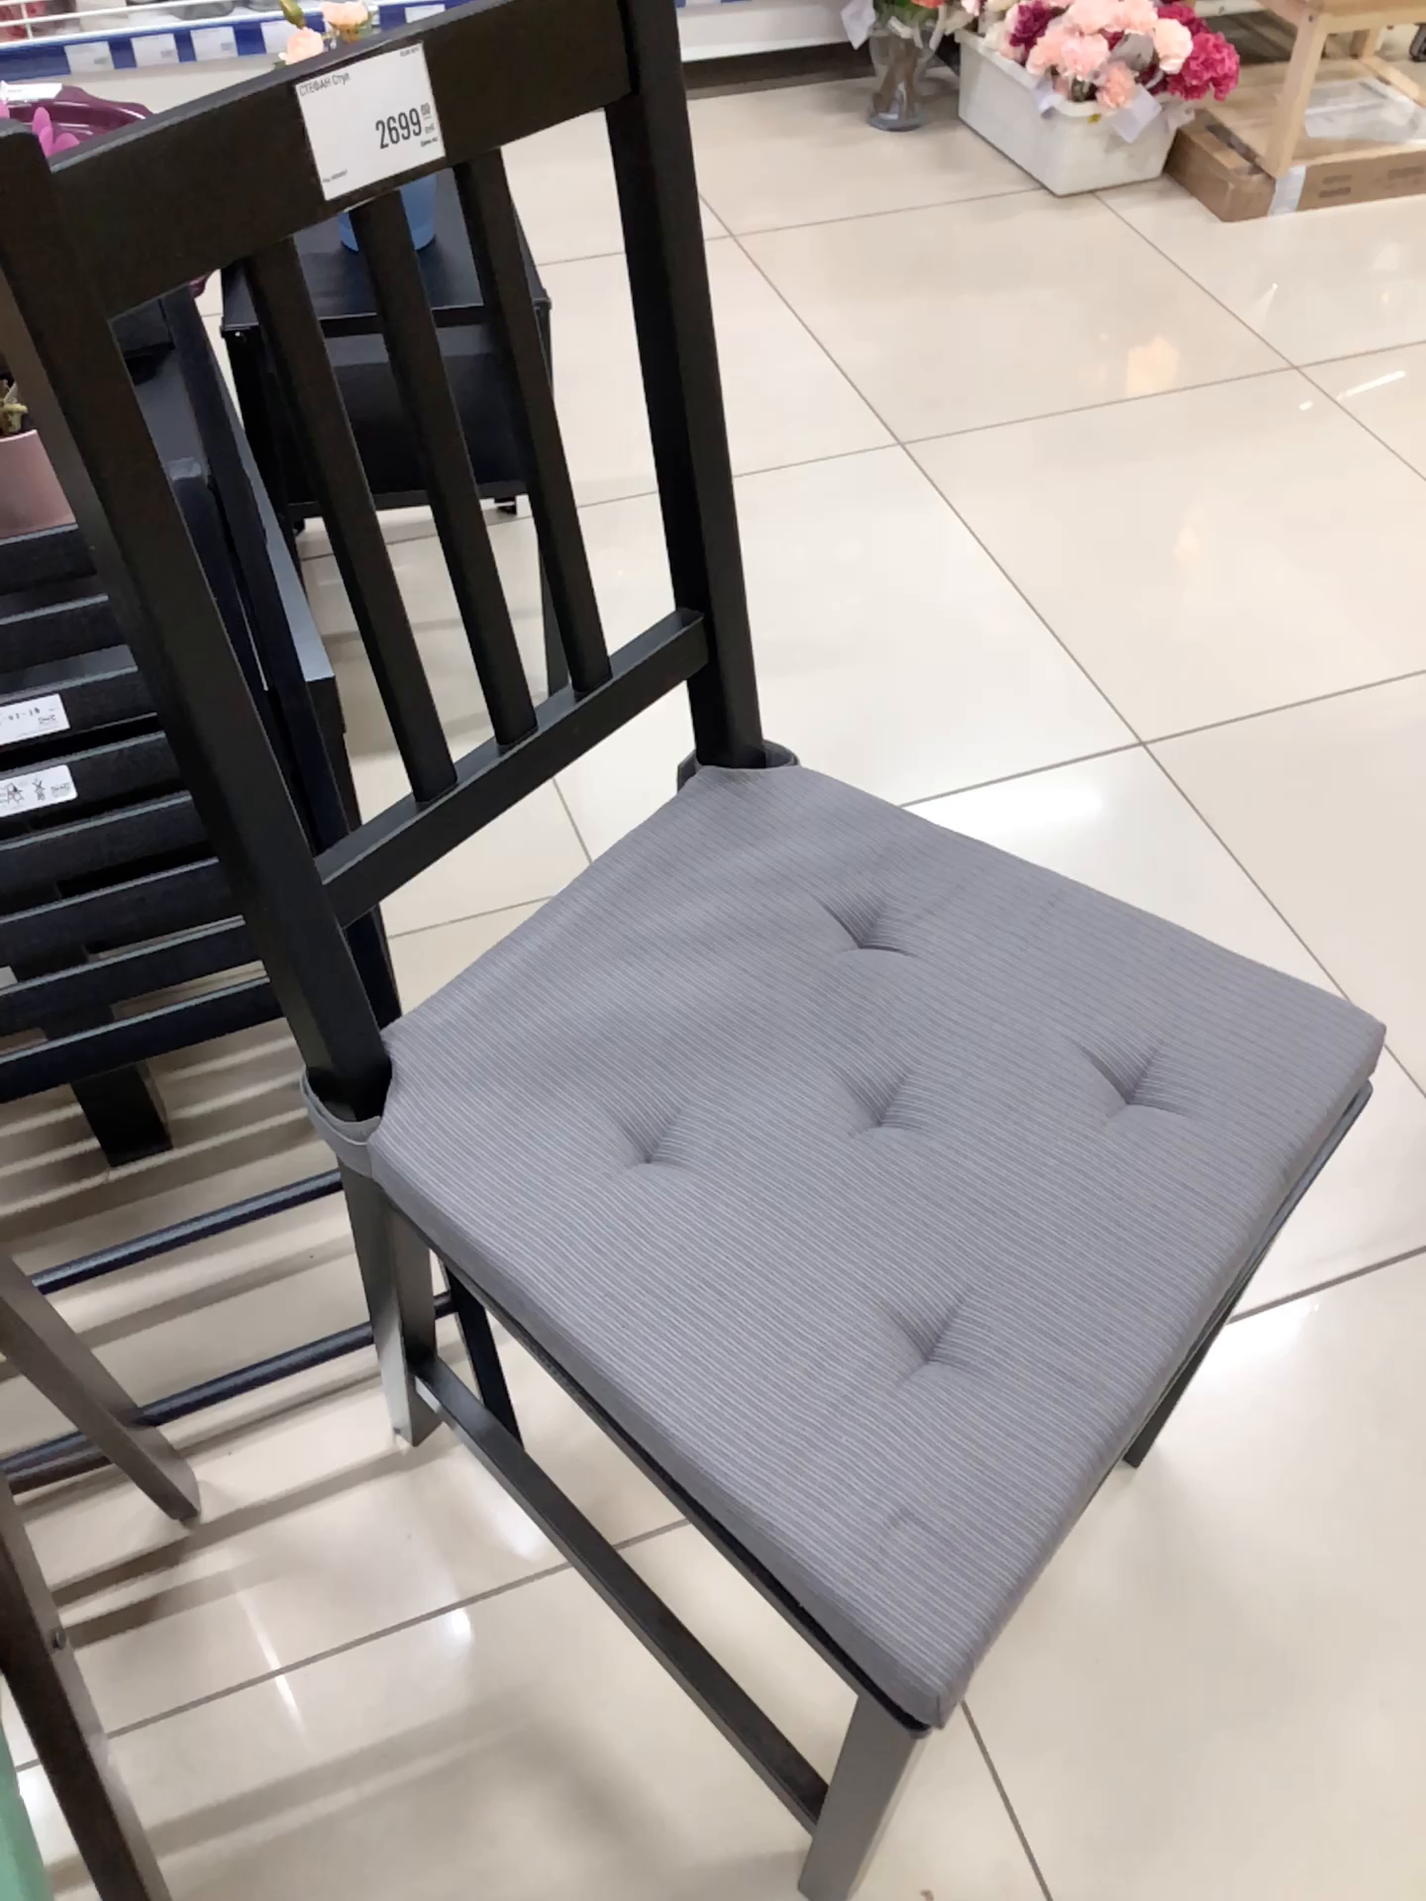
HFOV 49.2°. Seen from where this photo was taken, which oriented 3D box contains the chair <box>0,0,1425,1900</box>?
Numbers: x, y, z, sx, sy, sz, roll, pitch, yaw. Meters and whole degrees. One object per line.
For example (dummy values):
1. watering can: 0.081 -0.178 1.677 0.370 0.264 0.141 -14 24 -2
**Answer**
1. chair: 0.041 0.073 0.798 0.491 0.894 0.412 34 56 24
